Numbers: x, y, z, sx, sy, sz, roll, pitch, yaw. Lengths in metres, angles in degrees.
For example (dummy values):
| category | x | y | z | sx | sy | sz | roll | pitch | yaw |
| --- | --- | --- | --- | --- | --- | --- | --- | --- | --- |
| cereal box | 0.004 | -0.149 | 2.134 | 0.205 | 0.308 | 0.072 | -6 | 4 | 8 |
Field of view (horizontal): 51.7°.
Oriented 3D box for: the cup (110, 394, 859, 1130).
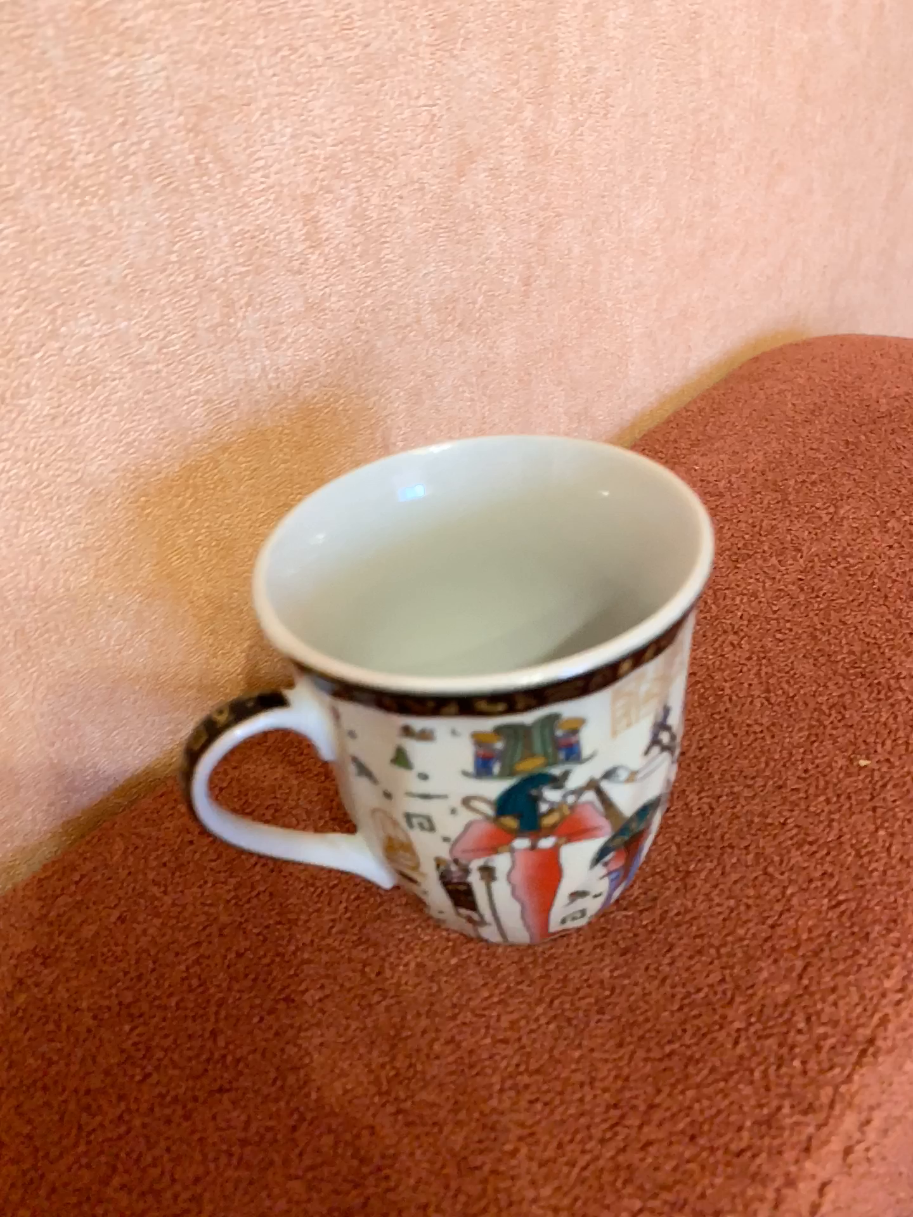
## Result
| category | x | y | z | sx | sy | sz | roll | pitch | yaw |
| --- | --- | --- | --- | --- | --- | --- | --- | --- | --- |
| cup | 0.004 | 0.025 | 0.204 | 0.115 | 0.087 | 0.086 | -21 | 40 | -16 |
